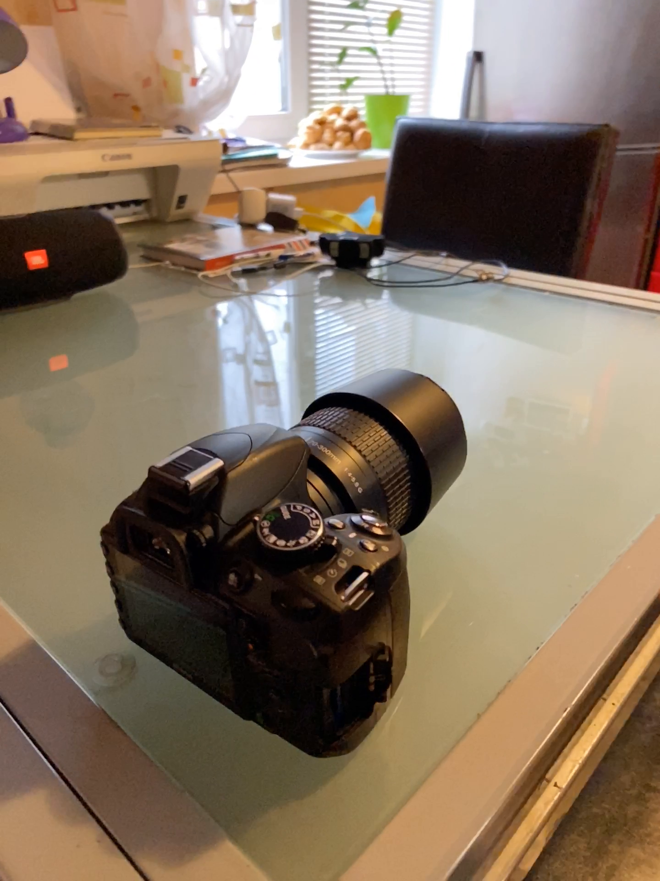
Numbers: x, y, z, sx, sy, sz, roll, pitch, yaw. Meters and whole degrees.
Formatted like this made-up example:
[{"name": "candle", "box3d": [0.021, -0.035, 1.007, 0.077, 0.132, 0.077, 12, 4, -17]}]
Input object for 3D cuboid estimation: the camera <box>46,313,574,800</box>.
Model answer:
[{"name": "camera", "box3d": [0.006, 0.024, 0.325, 0.134, 0.099, 0.209, 19, 33, 33]}]
